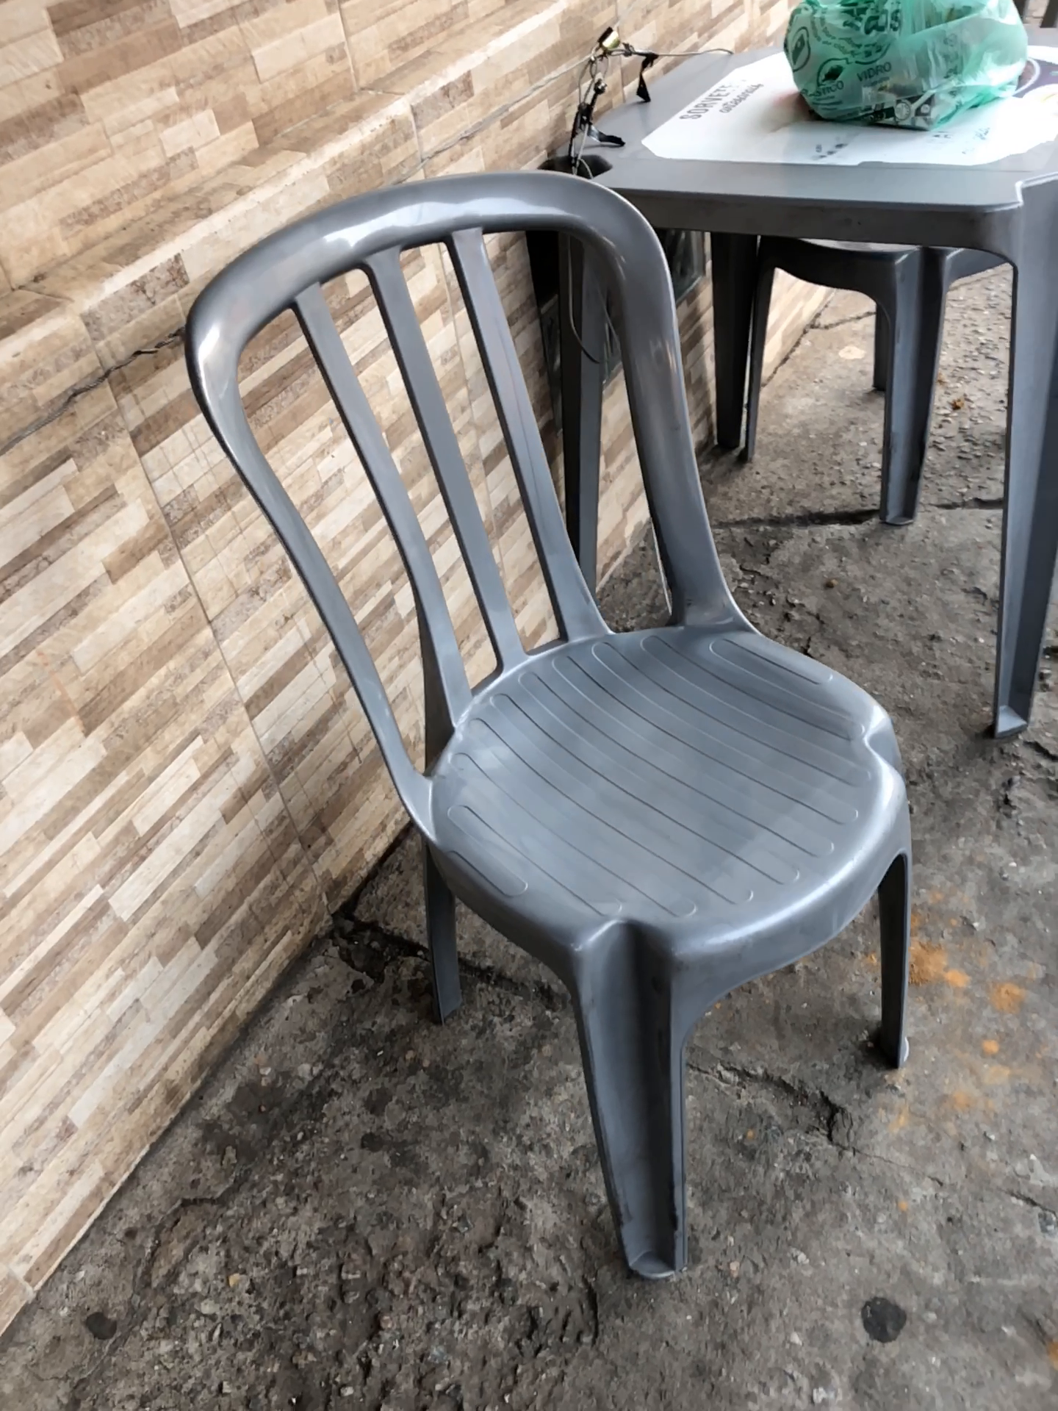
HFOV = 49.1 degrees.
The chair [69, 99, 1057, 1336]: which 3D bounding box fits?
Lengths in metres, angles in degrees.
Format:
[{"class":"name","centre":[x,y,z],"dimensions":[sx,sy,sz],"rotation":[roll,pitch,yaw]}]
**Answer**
[{"class":"chair","centre":[0.067,0.024,0.999],"dimensions":[0.441,0.834,0.503],"rotation":[-33,45,-23]}]
